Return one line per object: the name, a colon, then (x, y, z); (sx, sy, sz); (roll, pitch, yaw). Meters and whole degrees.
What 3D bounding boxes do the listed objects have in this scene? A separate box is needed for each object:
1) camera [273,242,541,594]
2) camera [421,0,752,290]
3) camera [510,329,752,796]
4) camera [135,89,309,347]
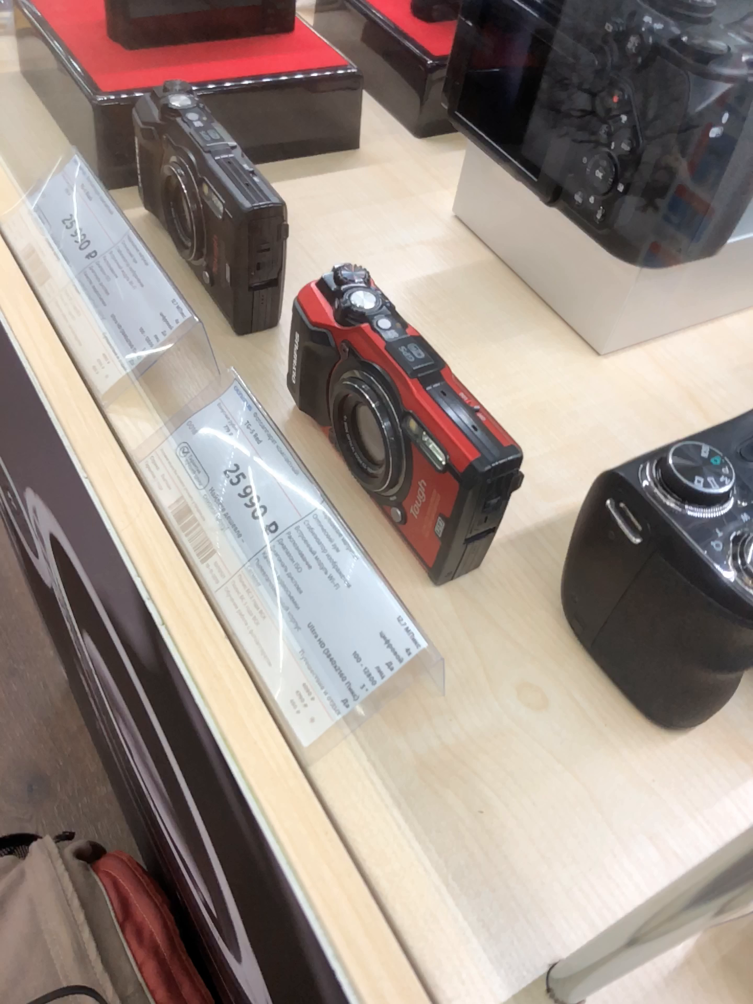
camera: (0.004, -0.034, 0.304); (0.030, 0.061, 0.119); (-21, 56, -25)
camera: (0.118, -0.182, 0.358); (0.127, 0.086, 0.147); (-20, 56, -25)
camera: (0.128, 0.015, 0.276); (0.117, 0.078, 0.094); (-20, 56, -25)
camera: (-0.075, -0.136, 0.391); (0.030, 0.061, 0.117); (-21, 56, -25)
